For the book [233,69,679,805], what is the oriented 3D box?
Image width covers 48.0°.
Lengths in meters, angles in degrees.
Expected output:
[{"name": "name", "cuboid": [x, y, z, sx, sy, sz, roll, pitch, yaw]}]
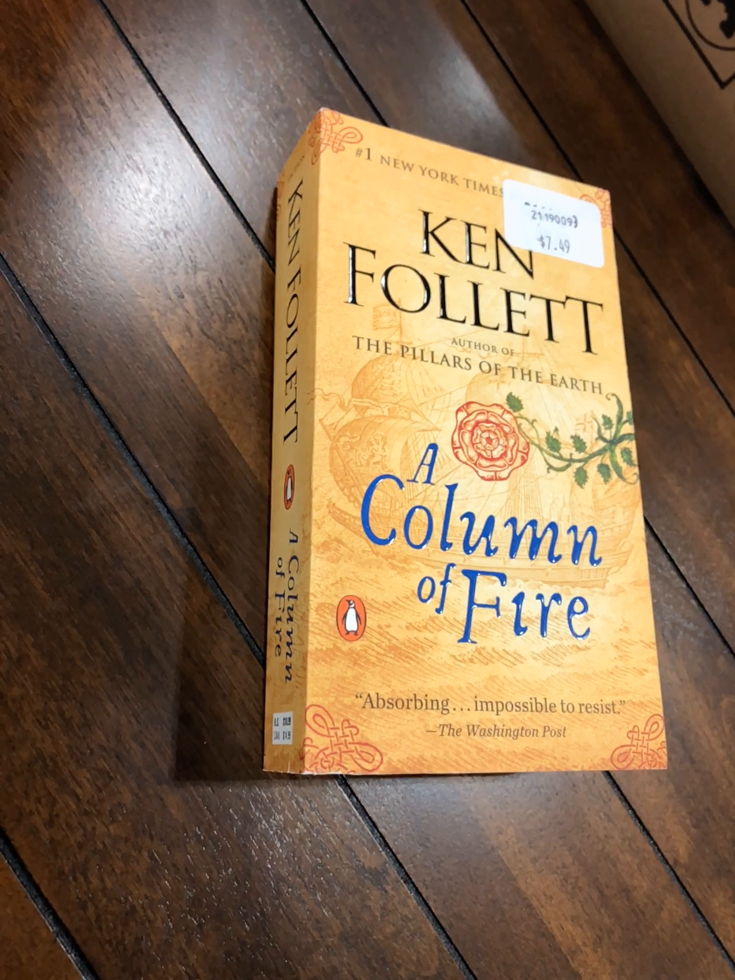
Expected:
[{"name": "book", "cuboid": [0.024, -0.014, 0.244, 0.110, 0.040, 0.195, 8, 71, -23]}]
